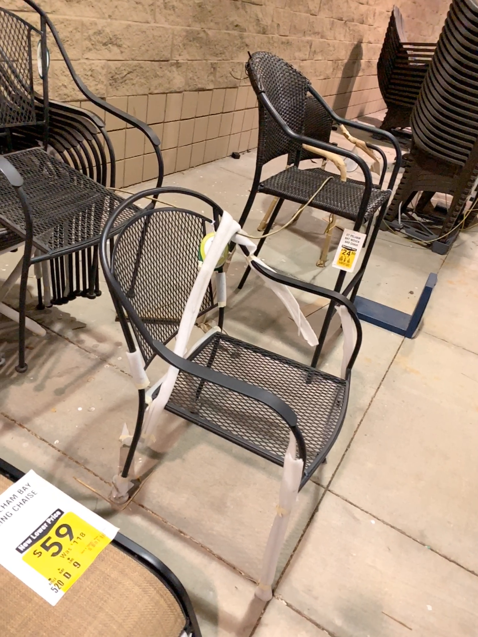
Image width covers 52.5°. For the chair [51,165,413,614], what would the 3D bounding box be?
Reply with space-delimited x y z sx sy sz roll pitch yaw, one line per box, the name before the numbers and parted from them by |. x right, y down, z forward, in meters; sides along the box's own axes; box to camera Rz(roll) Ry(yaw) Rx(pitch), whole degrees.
chair | -0.029 0.154 1.320 0.638 0.869 0.577 21 34 16

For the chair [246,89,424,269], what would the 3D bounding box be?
chair | 0.555 -0.874 2.947 0.629 0.820 0.646 32 38 30

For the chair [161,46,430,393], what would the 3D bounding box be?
chair | 0.191 -0.430 2.035 0.709 1.128 0.637 23 34 19
